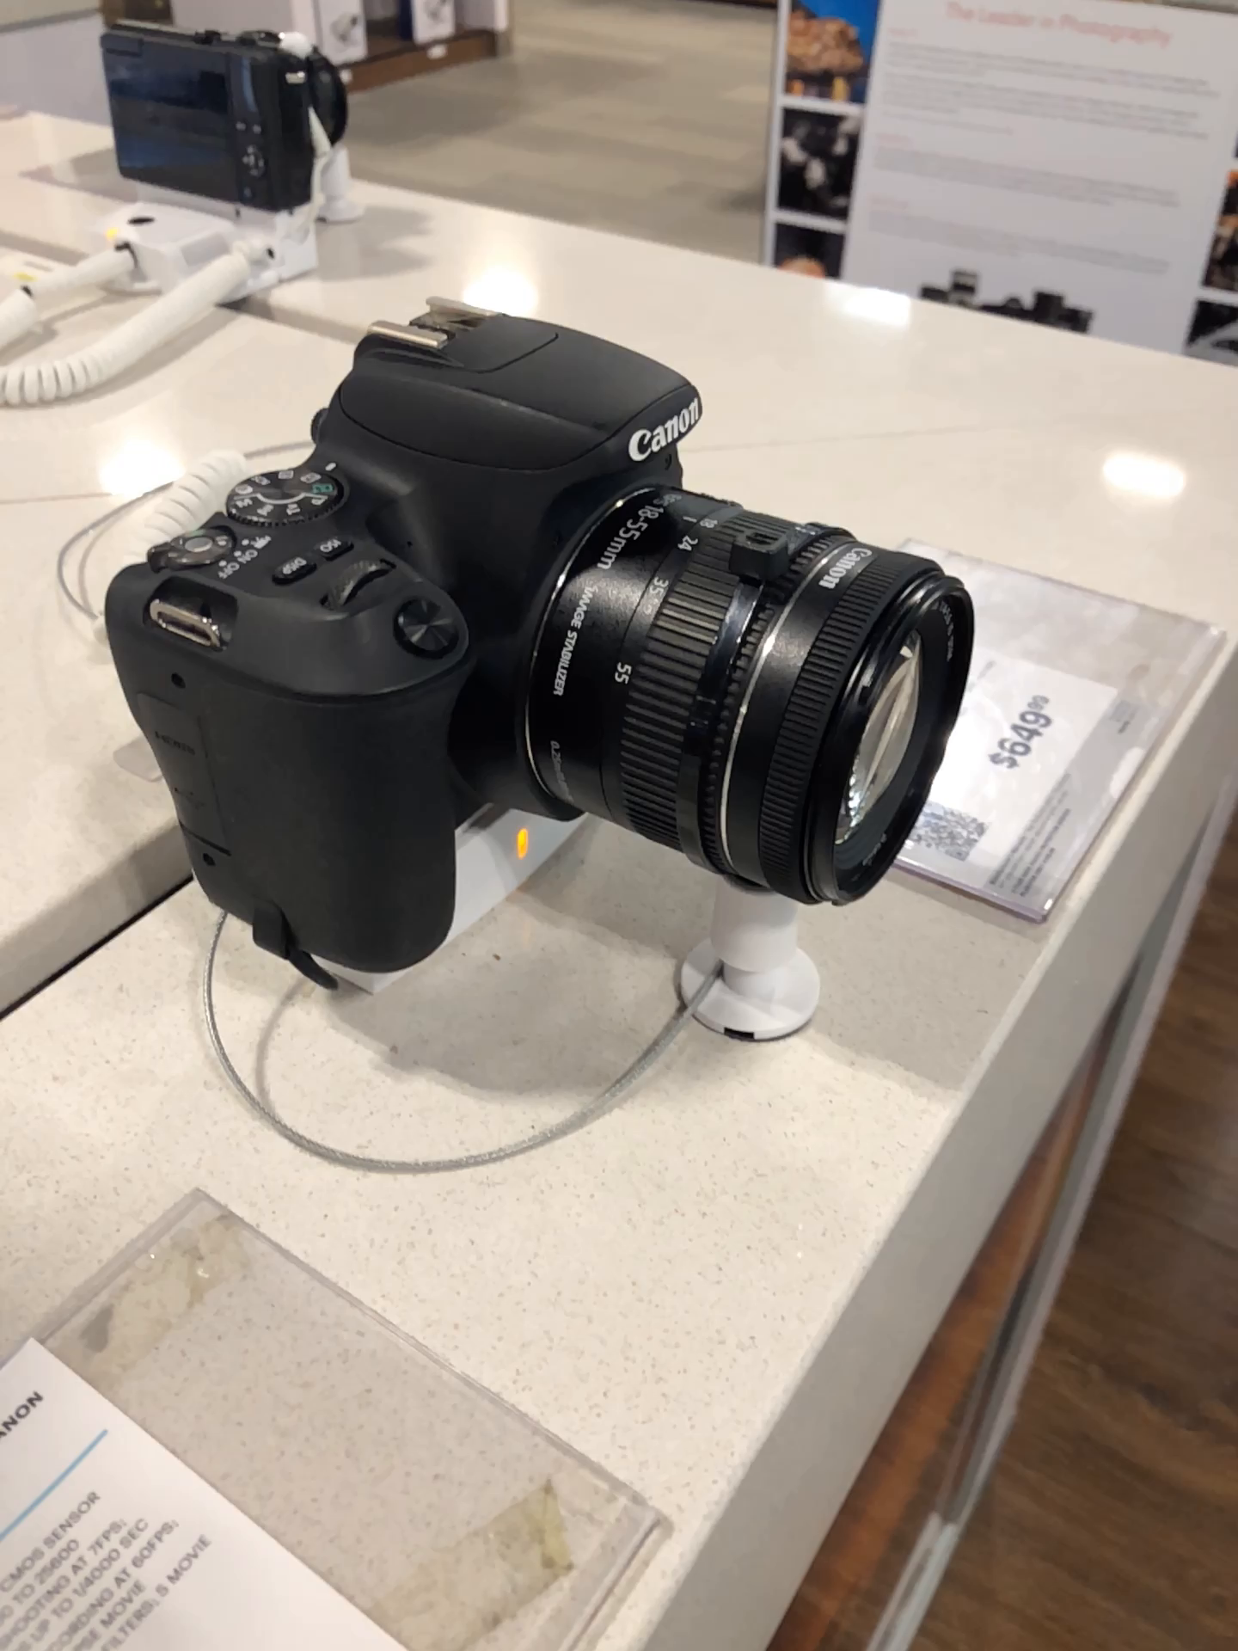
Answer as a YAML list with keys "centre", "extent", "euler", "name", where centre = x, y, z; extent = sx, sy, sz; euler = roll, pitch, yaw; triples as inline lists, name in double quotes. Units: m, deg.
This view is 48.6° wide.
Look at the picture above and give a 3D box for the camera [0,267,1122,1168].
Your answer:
- centre: [-0.009, -0.037, 0.255]
  extent: [0.150, 0.070, 0.131]
  euler: [23, 44, 24]
  name: "camera"
